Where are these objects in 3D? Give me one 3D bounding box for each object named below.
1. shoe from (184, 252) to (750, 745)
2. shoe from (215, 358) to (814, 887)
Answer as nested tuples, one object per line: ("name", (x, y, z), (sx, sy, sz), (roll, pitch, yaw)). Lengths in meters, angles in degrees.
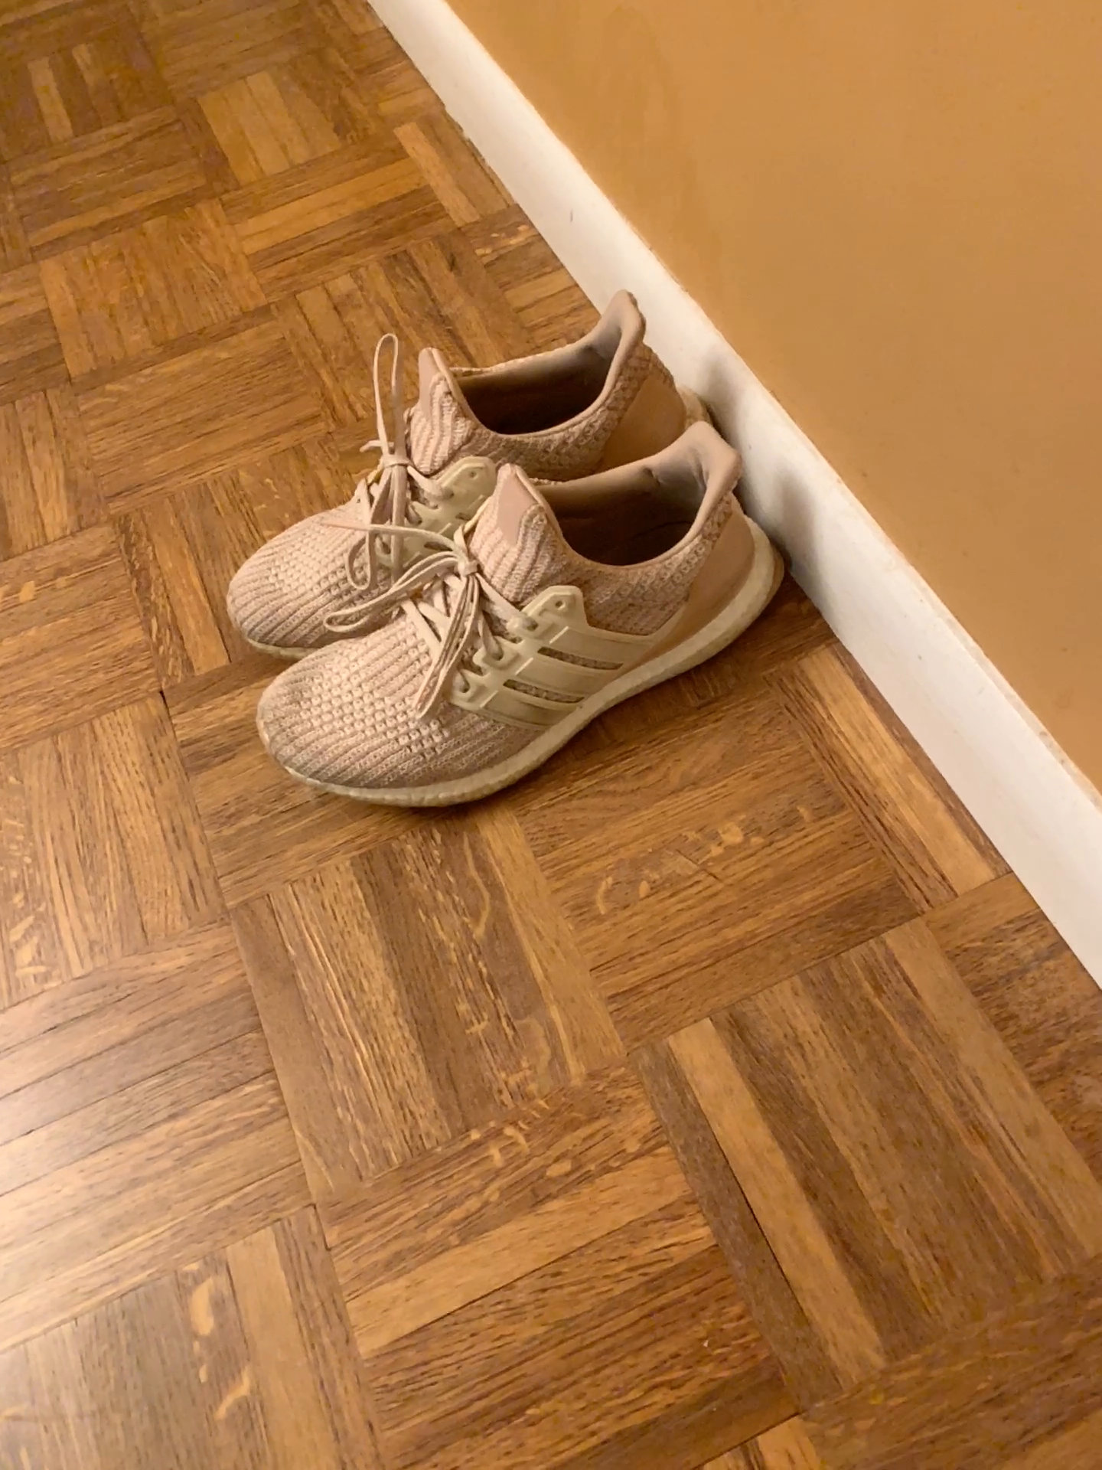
("shoe", (-0.043, -0.127, 0.645), (0.280, 0.130, 0.100), (-29, 59, 3))
("shoe", (-0.016, -0.049, 0.576), (0.260, 0.120, 0.110), (-30, 58, 5))
